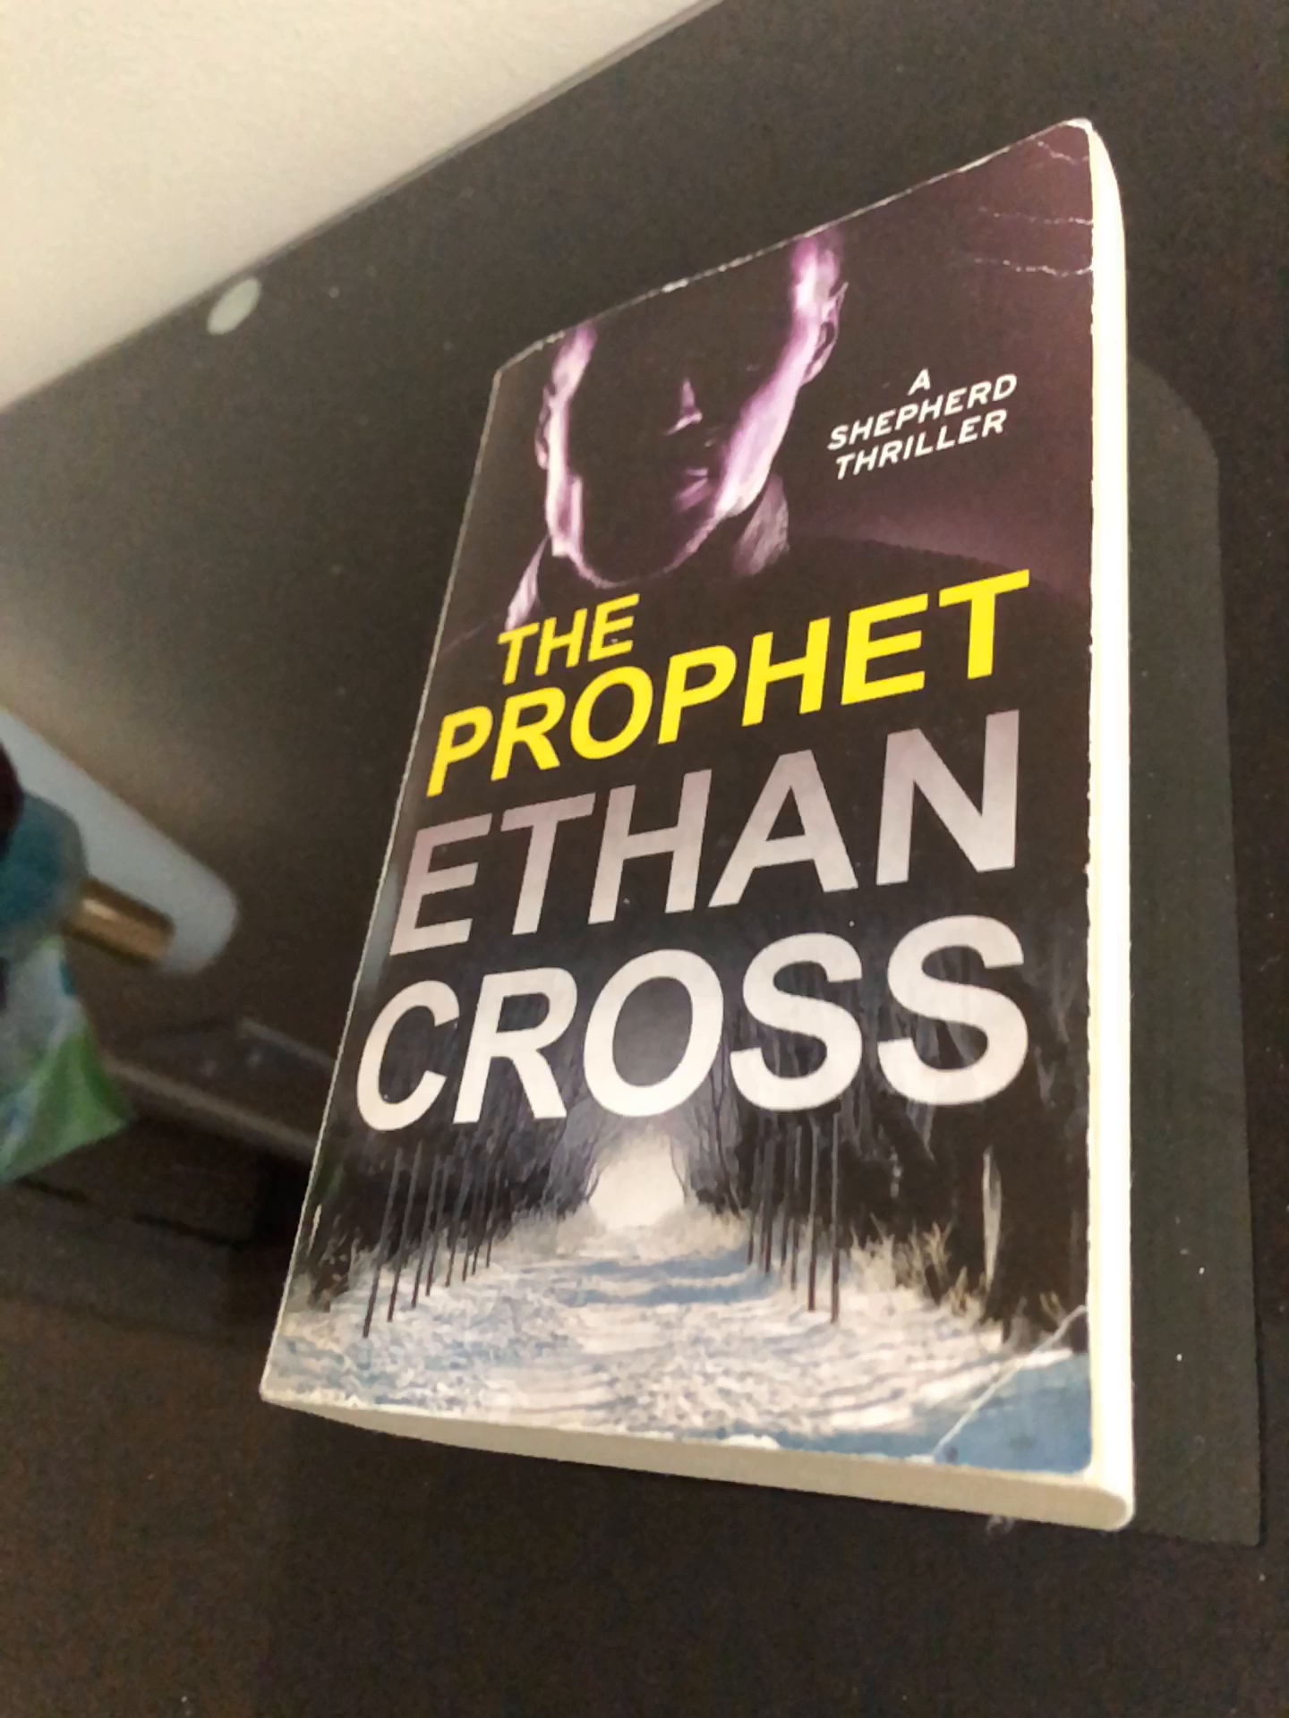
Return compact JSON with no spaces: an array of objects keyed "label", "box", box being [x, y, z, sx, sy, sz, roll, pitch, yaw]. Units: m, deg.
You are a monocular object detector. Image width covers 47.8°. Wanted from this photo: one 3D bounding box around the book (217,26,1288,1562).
[{"label":"book","box":[0.018,-0.012,0.198,0.115,0.040,0.179,-9,60,33]}]
